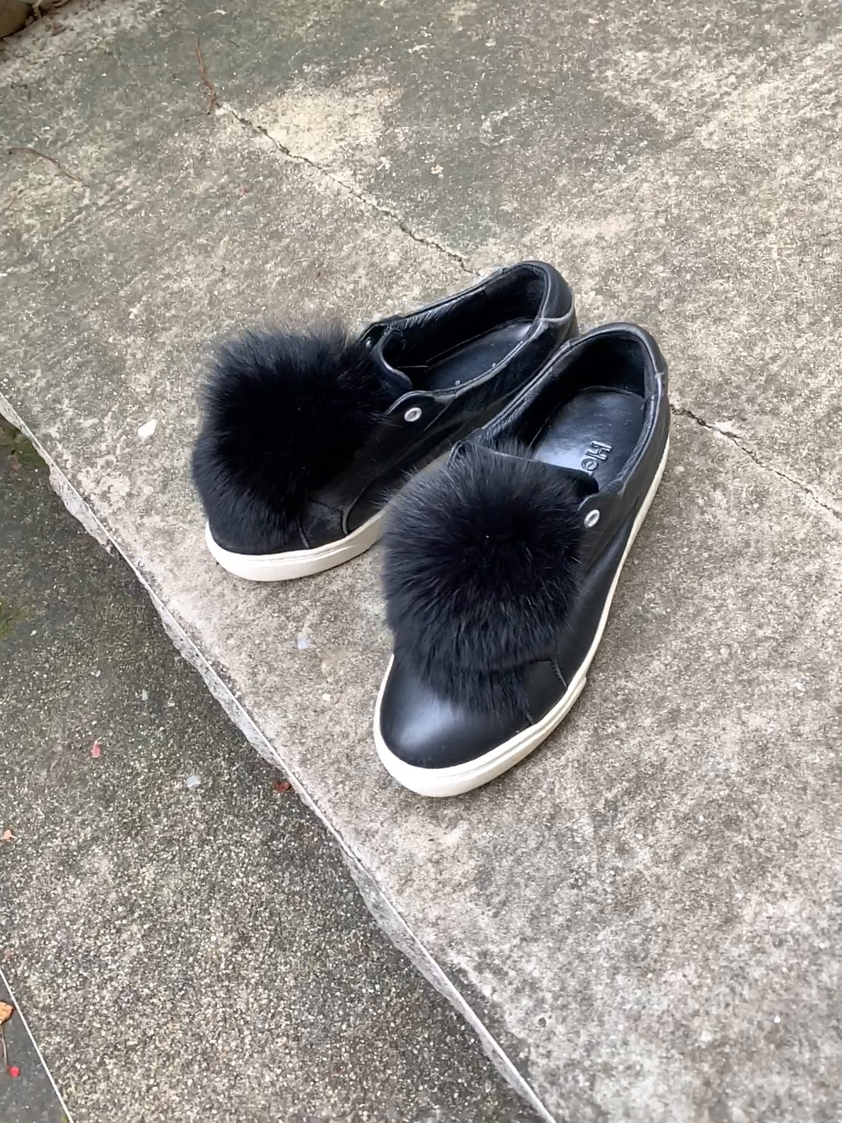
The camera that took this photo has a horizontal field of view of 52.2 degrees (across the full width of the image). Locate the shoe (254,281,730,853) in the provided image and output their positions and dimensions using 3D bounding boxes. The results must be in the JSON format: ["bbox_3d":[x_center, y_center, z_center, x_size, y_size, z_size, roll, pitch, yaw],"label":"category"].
[{"bbox_3d":[0.046,-0.004,0.414,0.098,0.097,0.243,25,69,26],"label":"shoe"}]

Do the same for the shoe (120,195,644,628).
[{"bbox_3d":[-0.015,-0.084,0.492,0.269,0.097,0.095,-28,57,-3],"label":"shoe"}]
